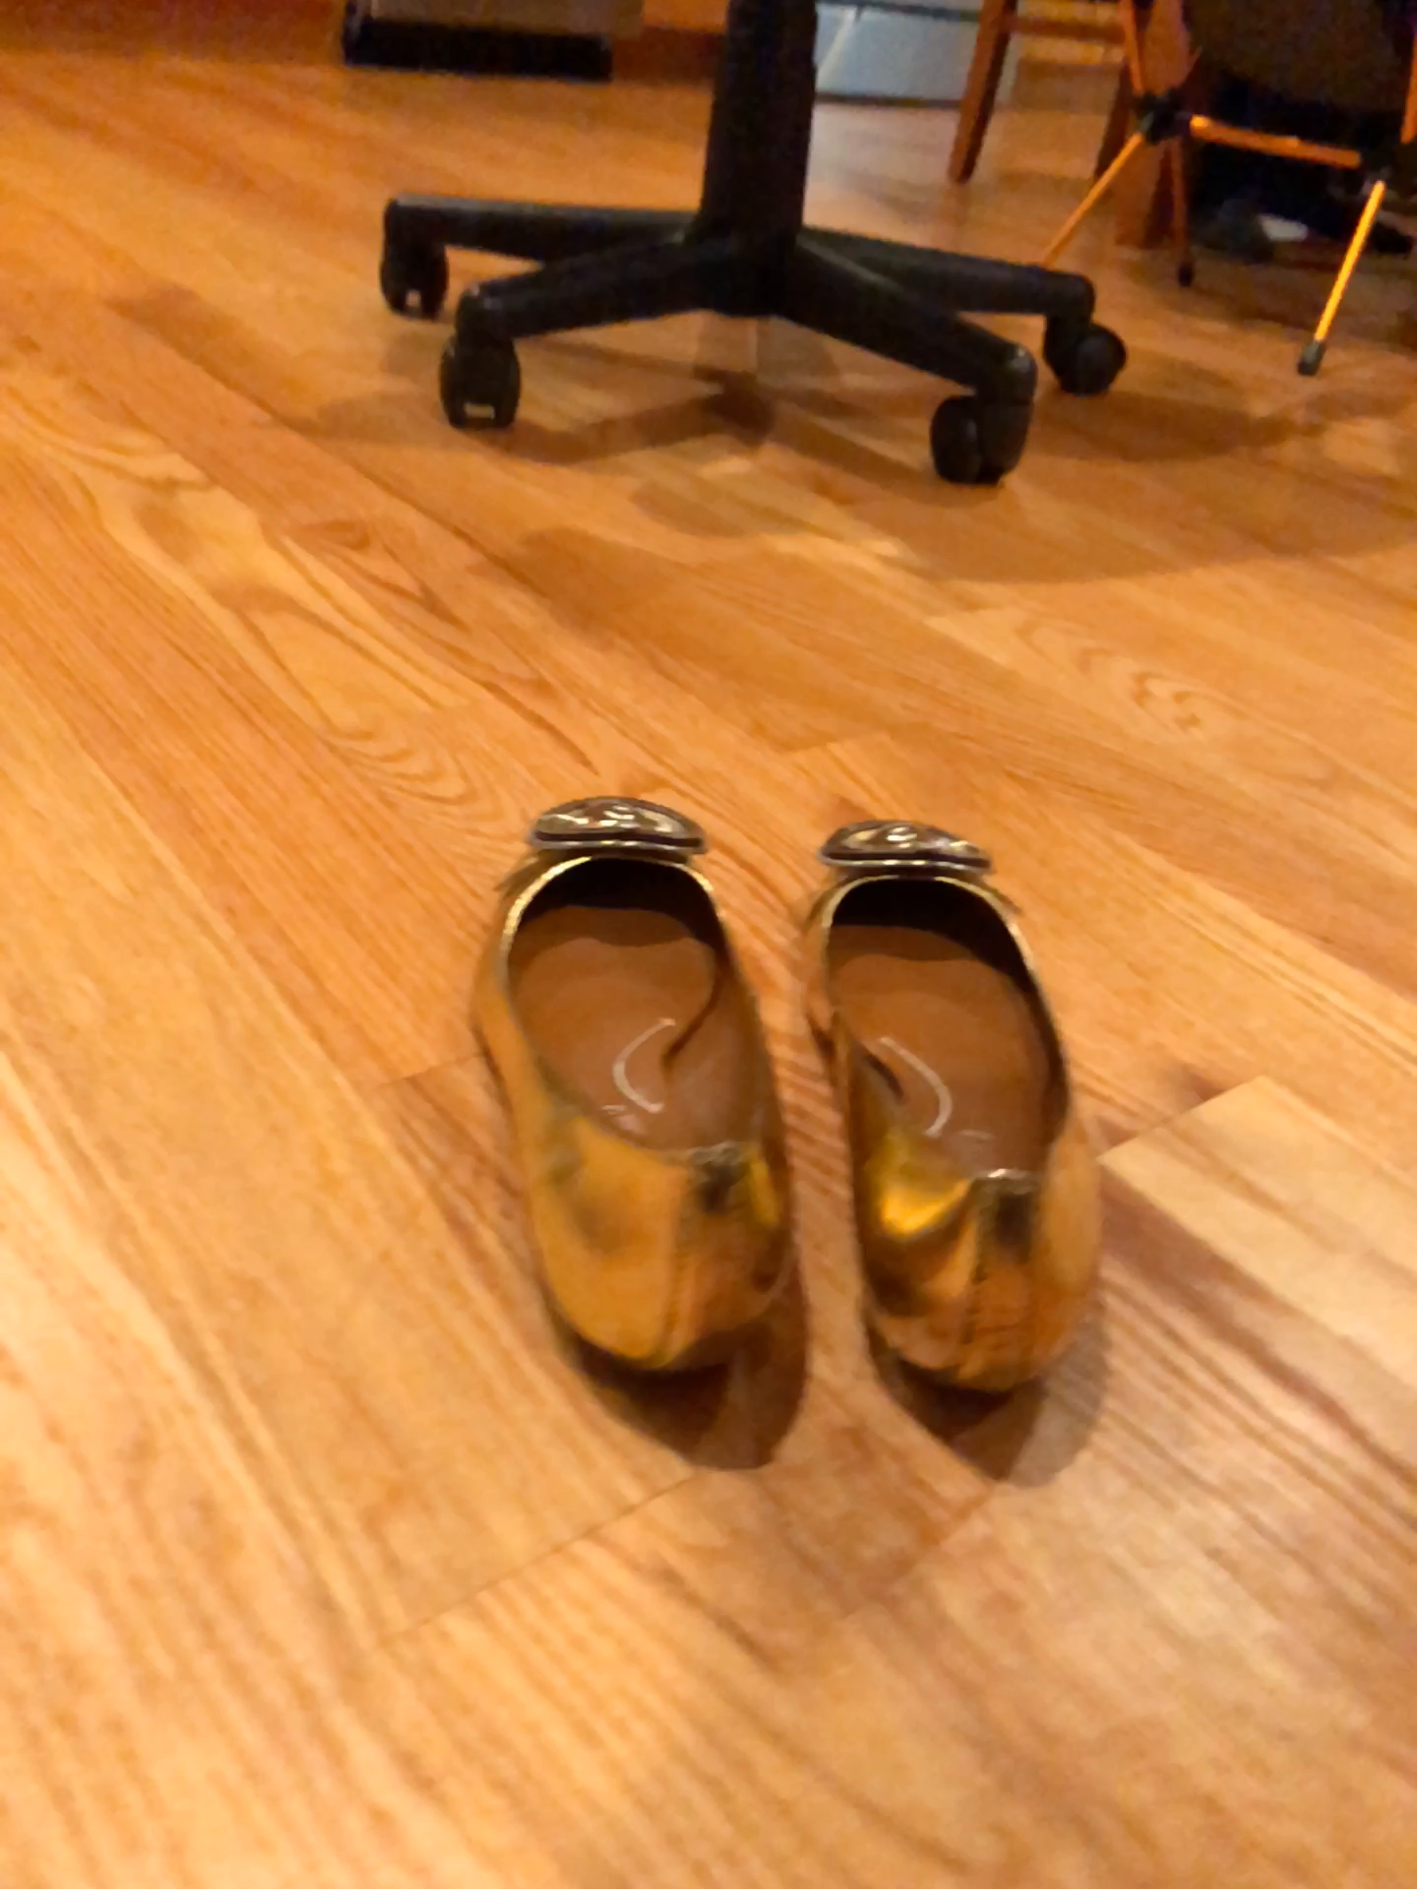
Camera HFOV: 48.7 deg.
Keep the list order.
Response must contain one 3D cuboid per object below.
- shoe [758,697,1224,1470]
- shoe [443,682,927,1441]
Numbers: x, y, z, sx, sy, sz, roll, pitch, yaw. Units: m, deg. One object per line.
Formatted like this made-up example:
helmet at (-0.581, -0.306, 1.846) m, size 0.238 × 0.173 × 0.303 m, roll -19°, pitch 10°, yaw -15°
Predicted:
shoe at (0.060, 0.017, 0.432) m, size 0.077 × 0.066 × 0.251 m, roll 5°, pitch 33°, yaw -4°
shoe at (-0.023, 0.010, 0.427) m, size 0.083 × 0.066 × 0.245 m, roll -1°, pitch 34°, yaw -13°
